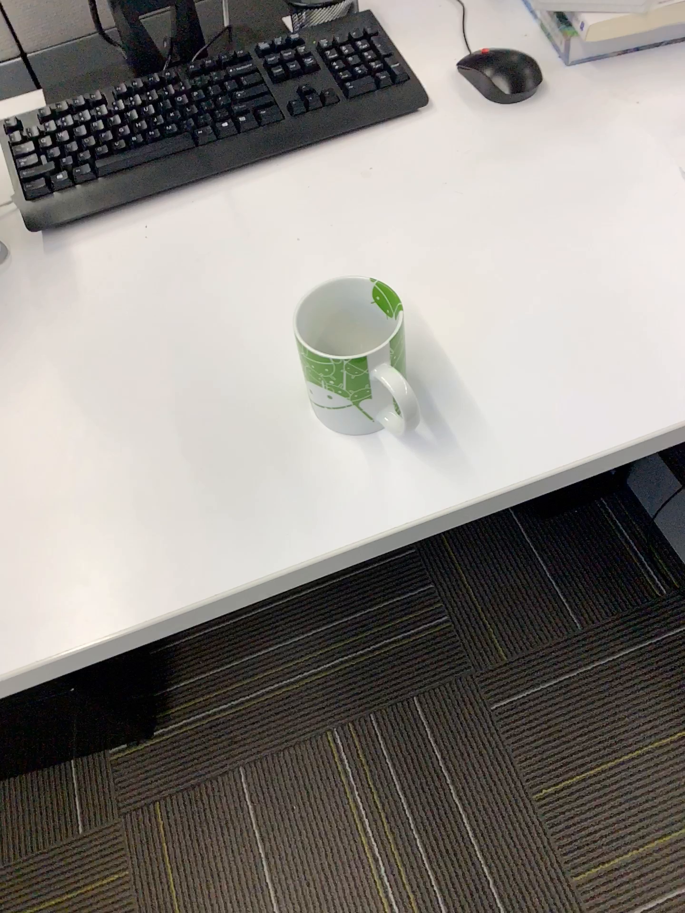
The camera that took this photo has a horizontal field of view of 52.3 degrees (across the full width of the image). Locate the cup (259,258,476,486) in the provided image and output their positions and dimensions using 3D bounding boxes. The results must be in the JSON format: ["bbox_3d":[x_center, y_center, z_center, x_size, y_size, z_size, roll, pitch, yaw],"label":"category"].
[{"bbox_3d":[0.019,-0.063,0.506,0.090,0.080,0.120,-39,60,-17],"label":"cup"}]
